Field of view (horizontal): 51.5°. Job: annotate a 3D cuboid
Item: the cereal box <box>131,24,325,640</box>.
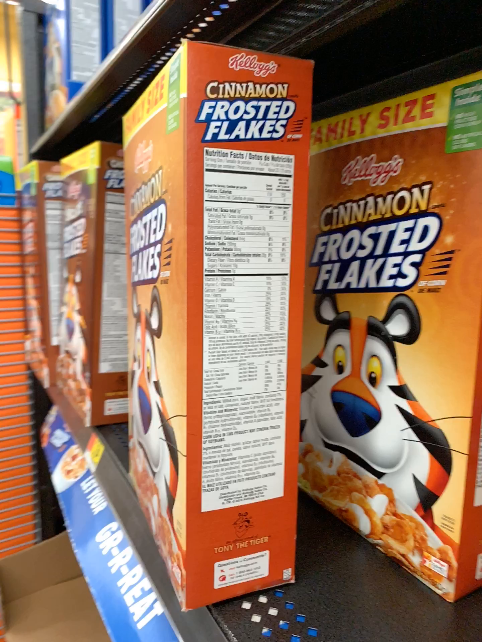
[{"bbox_3d":[-0.031,0.003,0.380,0.070,0.339,0.210,-2,9,-22],"label":"cereal box"}]
